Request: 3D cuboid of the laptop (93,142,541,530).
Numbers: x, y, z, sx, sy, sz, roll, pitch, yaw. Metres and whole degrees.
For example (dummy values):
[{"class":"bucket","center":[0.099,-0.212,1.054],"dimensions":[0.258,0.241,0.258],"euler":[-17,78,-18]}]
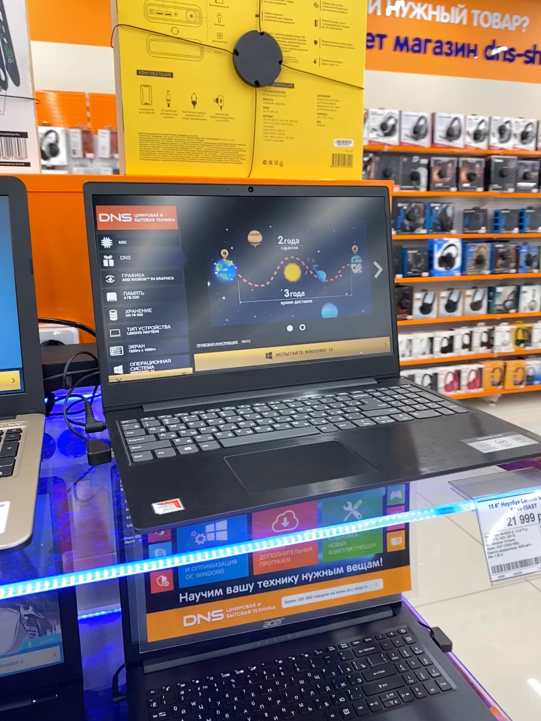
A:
[{"class":"laptop","center":[0.034,-0.055,0.524],"dimensions":[0.358,0.233,0.298],"euler":[-5,14,-20]}]
